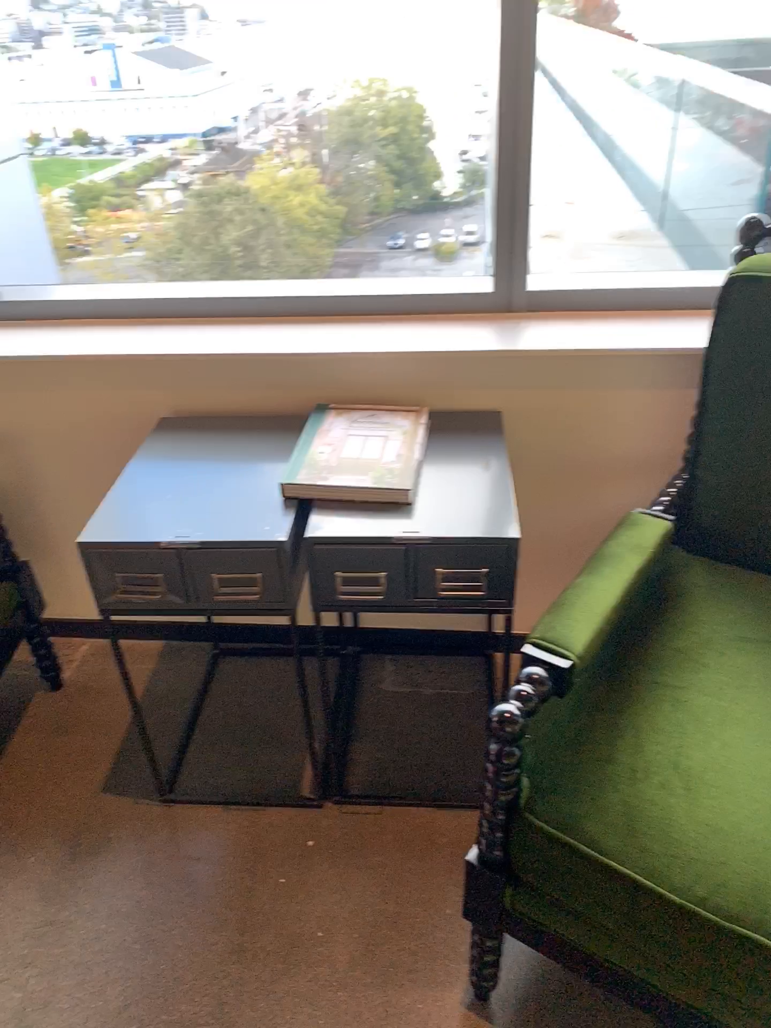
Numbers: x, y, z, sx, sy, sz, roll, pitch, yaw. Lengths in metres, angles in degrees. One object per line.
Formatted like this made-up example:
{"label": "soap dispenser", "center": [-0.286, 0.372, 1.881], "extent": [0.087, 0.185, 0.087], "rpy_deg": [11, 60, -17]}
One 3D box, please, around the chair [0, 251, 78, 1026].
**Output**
{"label": "chair", "center": [-1.200, 0.187, 1.284], "extent": [0.920, 0.974, 0.735], "rpy_deg": [-2, 33, 1]}

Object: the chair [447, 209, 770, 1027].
{"label": "chair", "center": [0.650, 0.208, 1.129], "extent": [0.763, 0.984, 0.922], "rpy_deg": [18, 38, 29]}
